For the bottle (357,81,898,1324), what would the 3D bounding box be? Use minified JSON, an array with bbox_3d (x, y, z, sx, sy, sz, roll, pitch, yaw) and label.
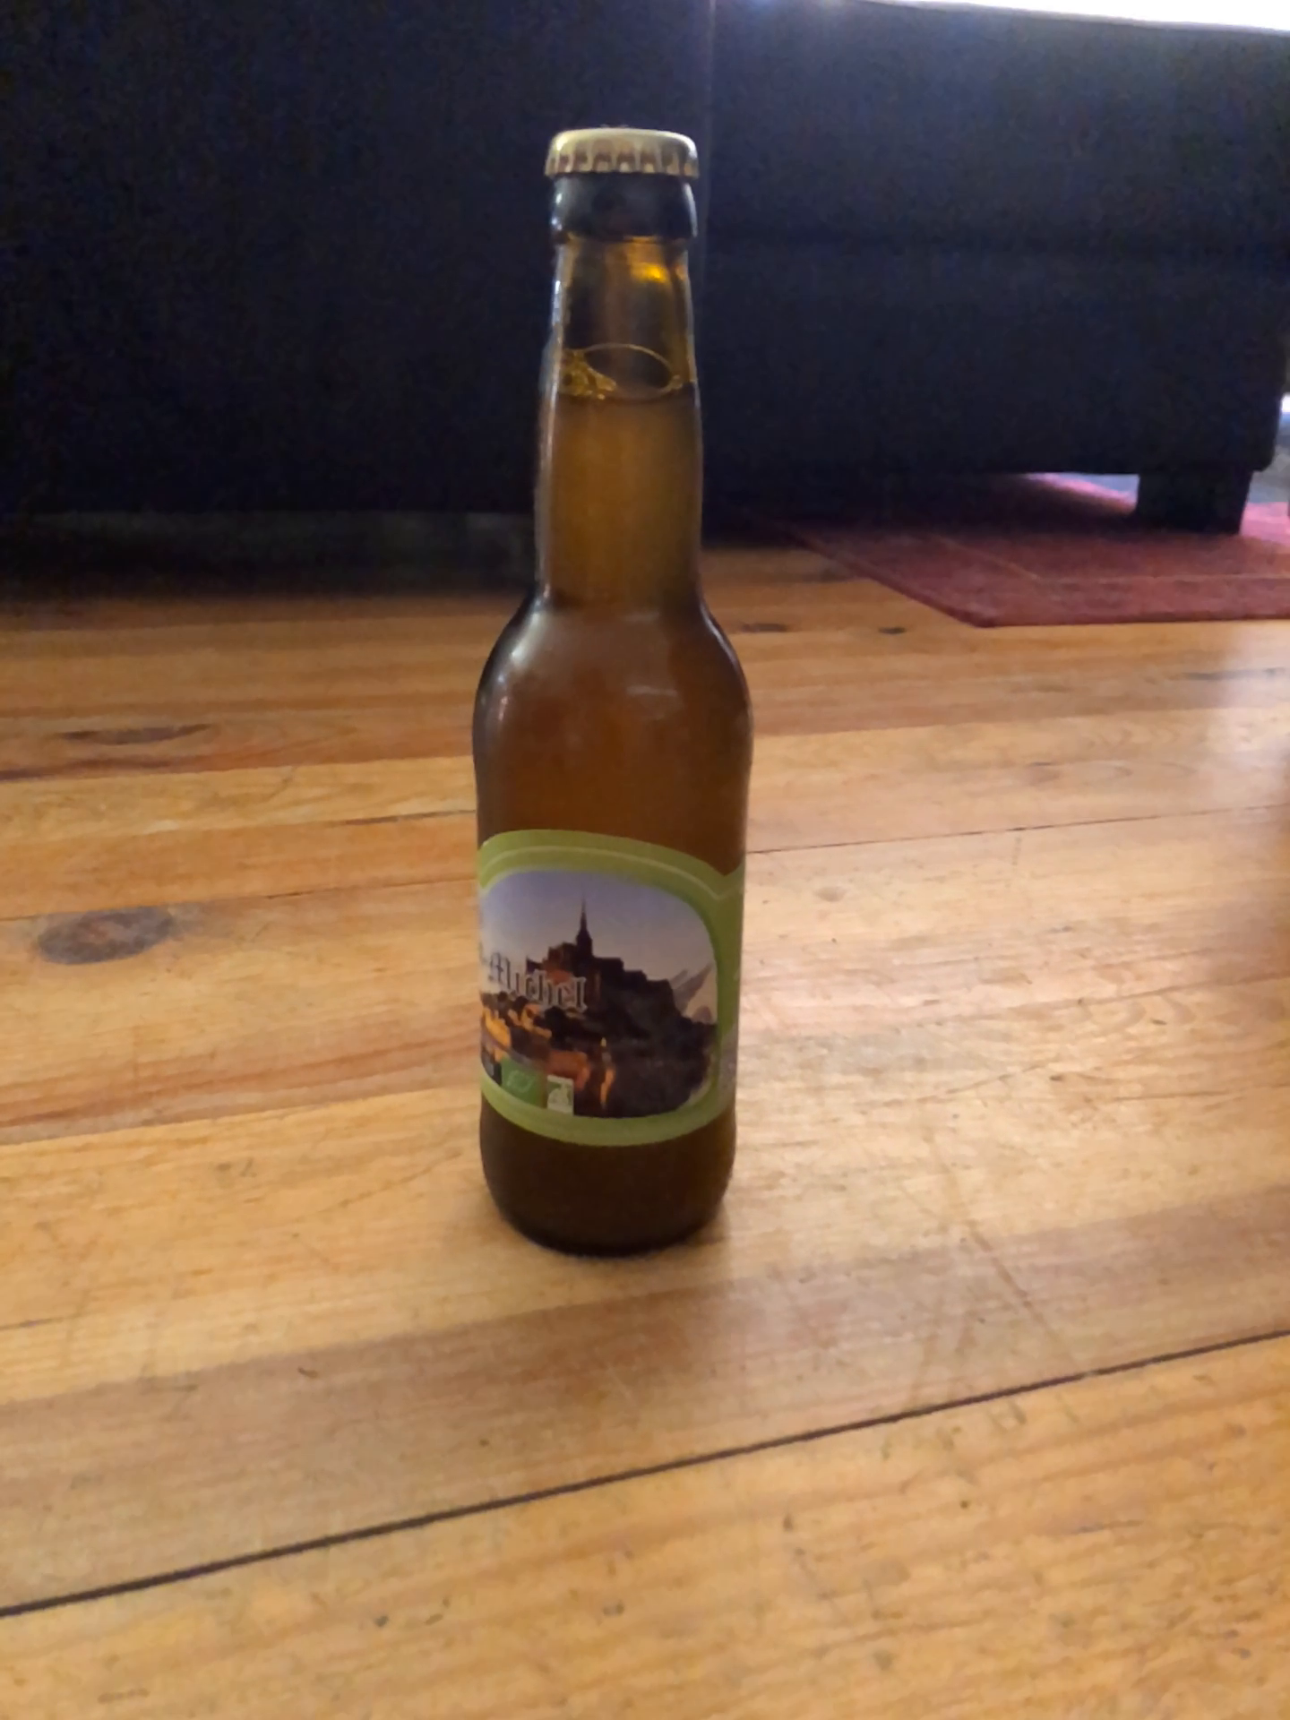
[{"bbox_3d":[-0.005,-0.029,0.300,0.070,0.229,0.070,1,21,-1],"label":"bottle"}]
